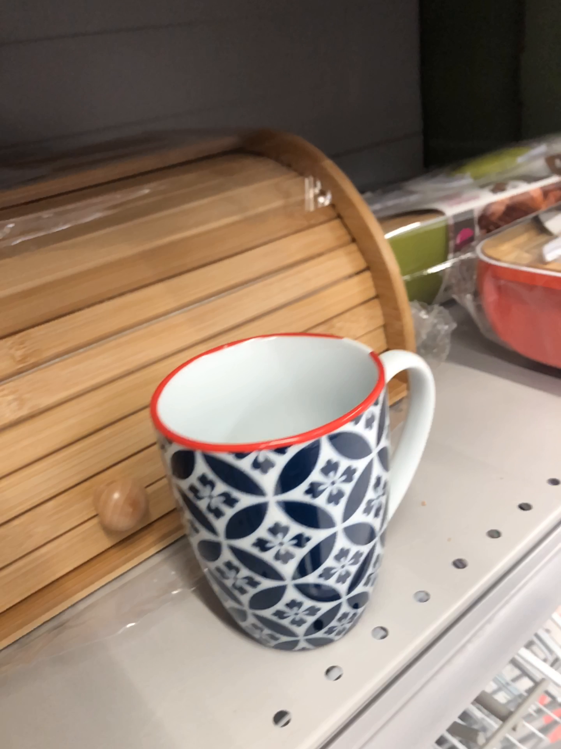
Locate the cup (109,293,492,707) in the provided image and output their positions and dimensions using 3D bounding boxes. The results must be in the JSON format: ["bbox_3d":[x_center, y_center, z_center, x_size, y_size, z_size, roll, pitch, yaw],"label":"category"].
[{"bbox_3d":[0.013,0.036,0.244,0.113,0.090,0.080,-26,32,-31],"label":"cup"}]
